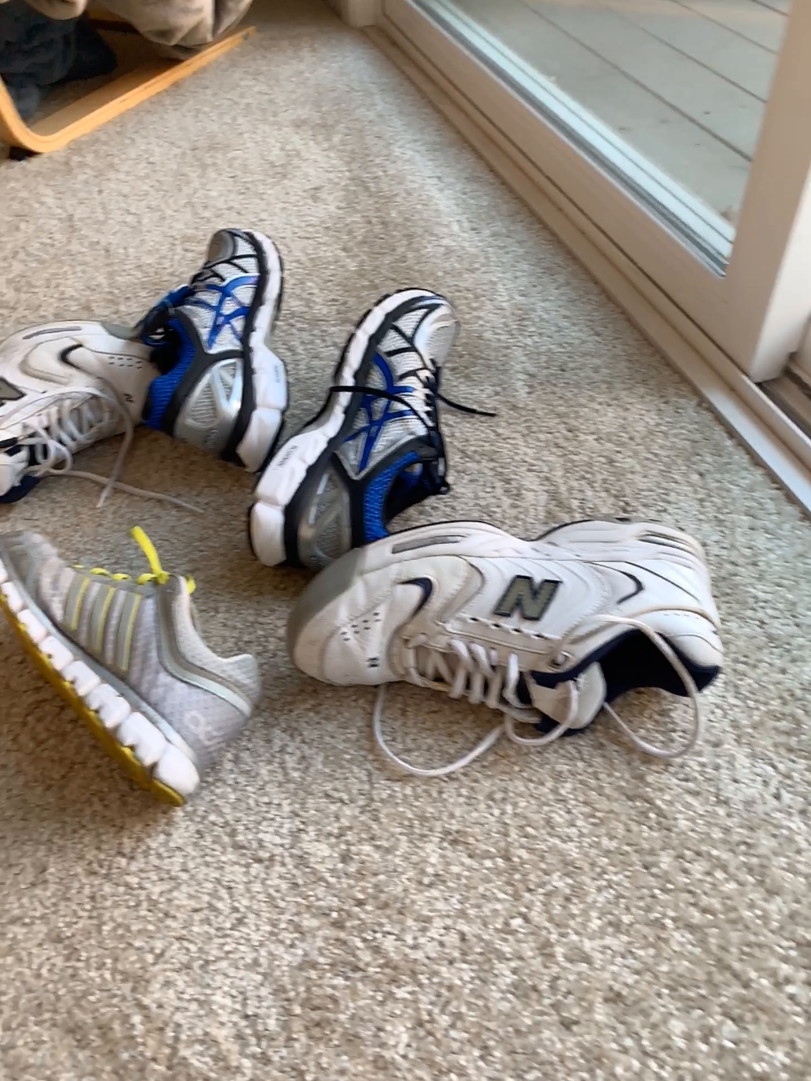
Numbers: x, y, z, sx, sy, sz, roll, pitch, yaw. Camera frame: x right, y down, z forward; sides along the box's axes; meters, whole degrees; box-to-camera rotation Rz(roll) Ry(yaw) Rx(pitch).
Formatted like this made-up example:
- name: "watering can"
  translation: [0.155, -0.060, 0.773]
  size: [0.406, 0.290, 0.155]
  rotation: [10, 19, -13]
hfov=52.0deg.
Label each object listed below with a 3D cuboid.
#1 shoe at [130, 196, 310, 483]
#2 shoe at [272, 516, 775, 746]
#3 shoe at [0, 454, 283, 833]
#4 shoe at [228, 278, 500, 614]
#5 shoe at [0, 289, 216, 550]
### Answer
- name: "shoe"
  translation: [-0.163, -0.188, 0.753]
  size: [0.120, 0.090, 0.261]
  rotation: [14, 44, -23]
- name: "shoe"
  translation: [0.066, 0.056, 0.520]
  size: [0.270, 0.099, 0.100]
  rotation: [0, 47, 4]
- name: "shoe"
  translation: [-0.188, 0.053, 0.519]
  size: [0.100, 0.090, 0.221]
  rotation: [-34, 53, -29]
- name: "shoe"
  translation: [-0.019, -0.090, 0.666]
  size: [0.120, 0.090, 0.281]
  rotation: [13, 49, 12]
- name: "shoe"
  translation: [-0.323, -0.109, 0.717]
  size: [0.280, 0.099, 0.101]
  rotation: [-22, 53, -16]
